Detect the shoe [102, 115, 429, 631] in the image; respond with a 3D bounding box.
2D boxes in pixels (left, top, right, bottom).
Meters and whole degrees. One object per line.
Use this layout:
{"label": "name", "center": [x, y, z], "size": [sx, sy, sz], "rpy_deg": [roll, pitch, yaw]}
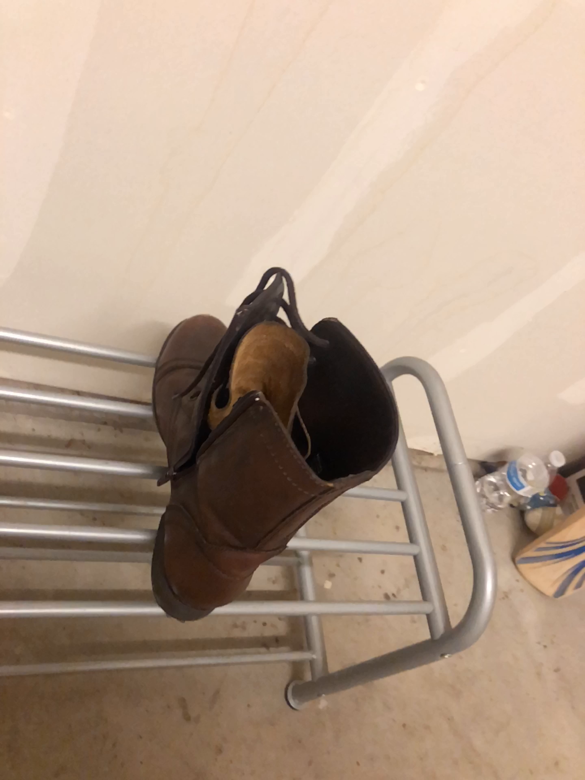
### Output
{"label": "shoe", "center": [-0.042, 0.001, 0.485], "size": [0.122, 0.238, 0.287], "rpy_deg": [11, 54, -23]}
